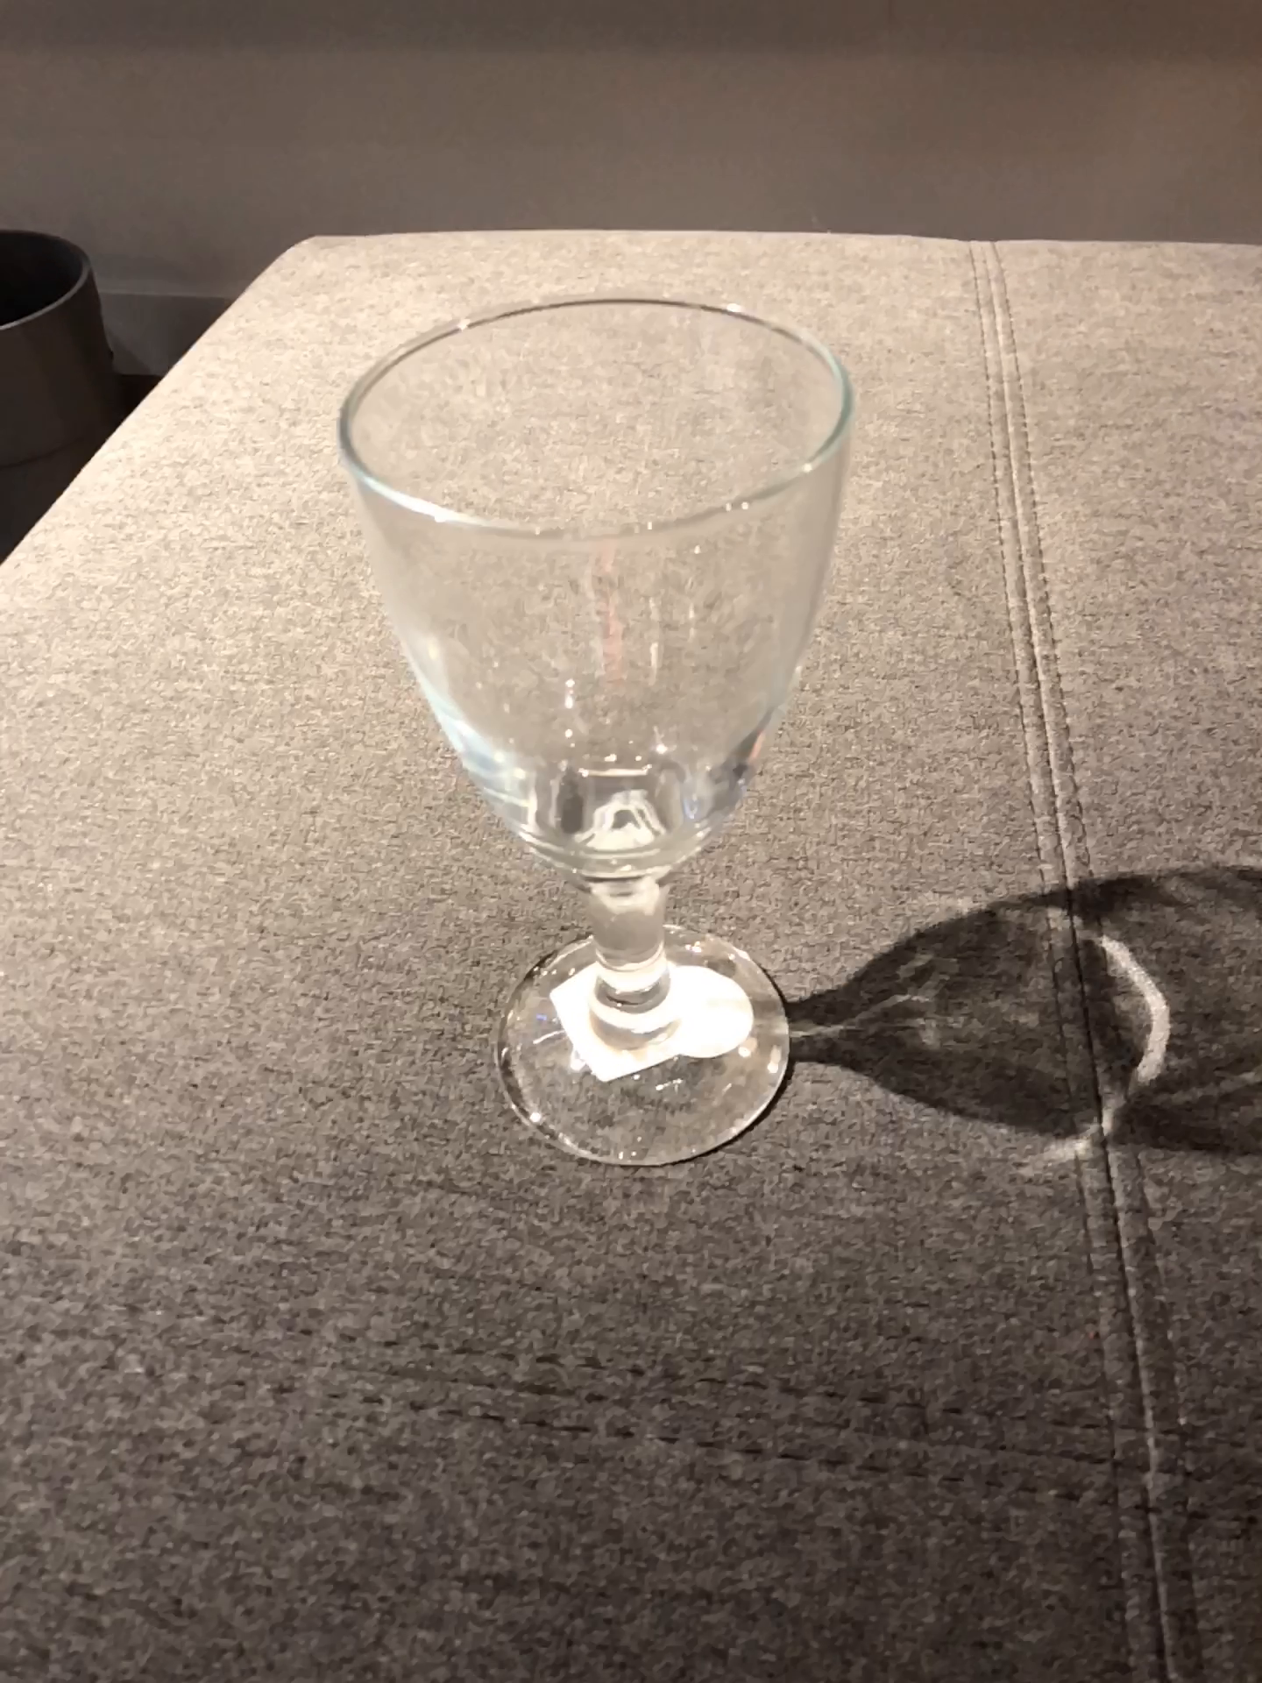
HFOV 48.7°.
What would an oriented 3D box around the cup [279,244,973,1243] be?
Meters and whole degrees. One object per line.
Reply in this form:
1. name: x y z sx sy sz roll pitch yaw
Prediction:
1. cup: -0.004 -0.013 0.284 0.090 0.169 0.090 -1 44 1
